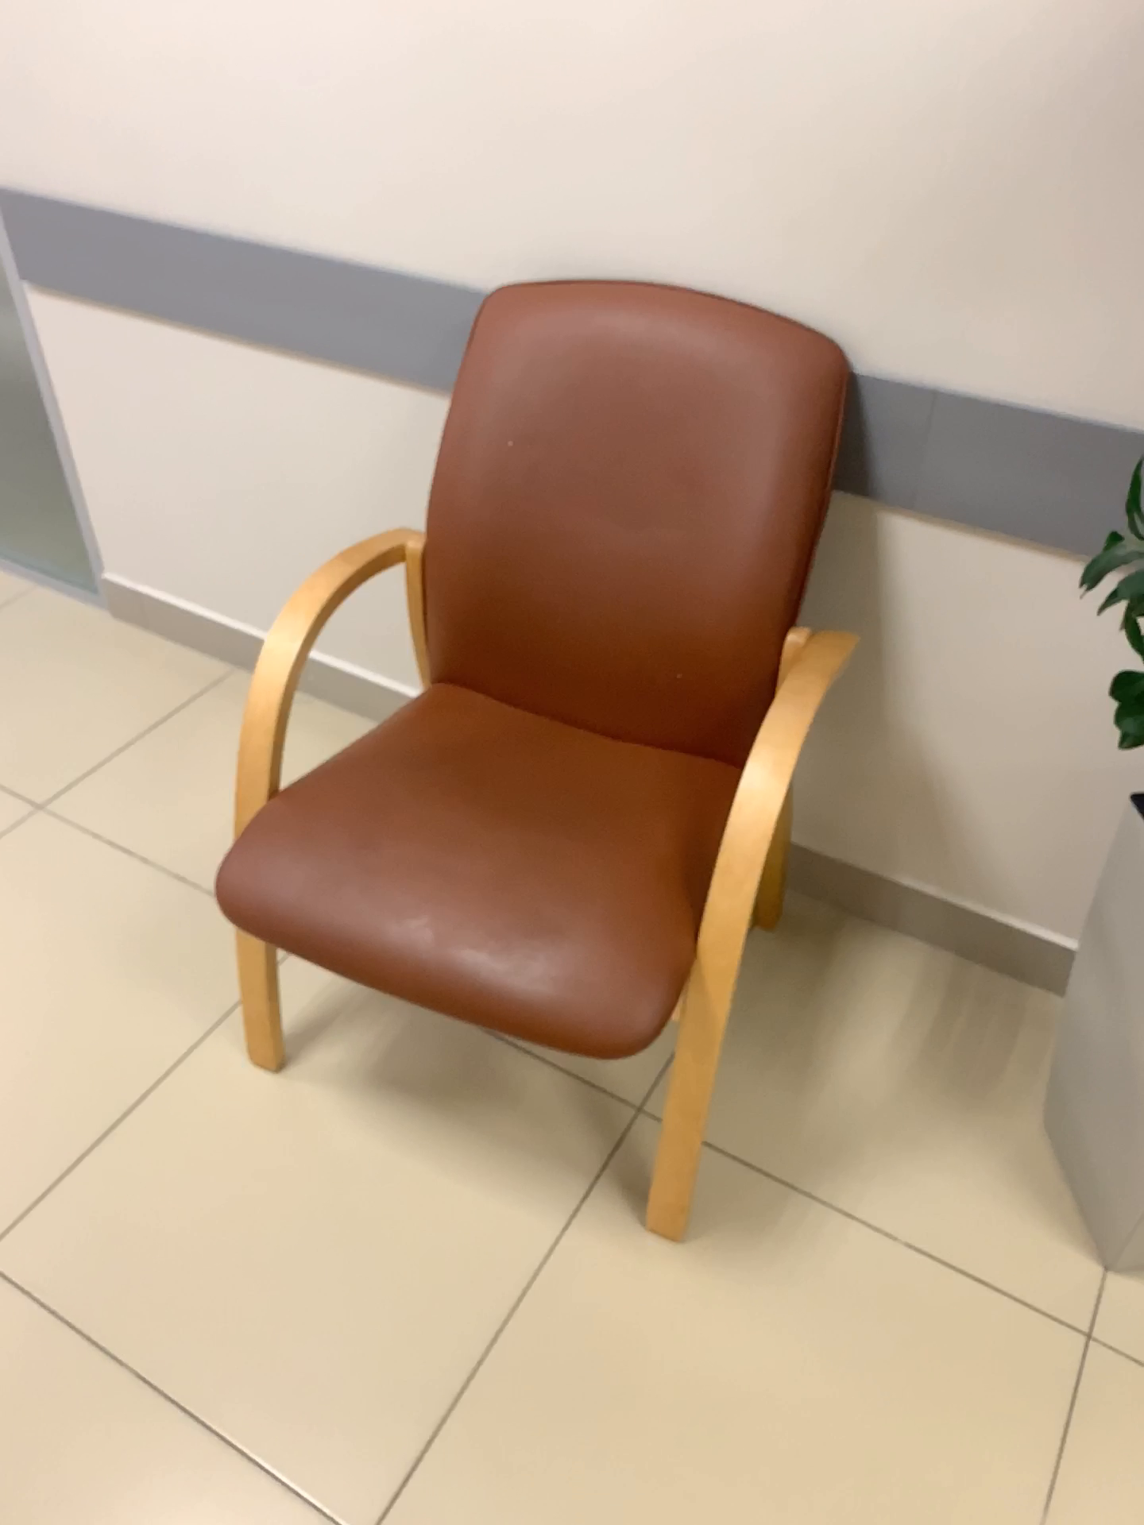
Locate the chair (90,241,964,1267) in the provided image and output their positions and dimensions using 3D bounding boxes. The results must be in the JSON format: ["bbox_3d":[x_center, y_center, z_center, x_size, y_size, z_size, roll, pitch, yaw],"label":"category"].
[{"bbox_3d":[-0.011,-0.013,1.488,0.670,0.985,0.603,17,42,19],"label":"chair"}]
